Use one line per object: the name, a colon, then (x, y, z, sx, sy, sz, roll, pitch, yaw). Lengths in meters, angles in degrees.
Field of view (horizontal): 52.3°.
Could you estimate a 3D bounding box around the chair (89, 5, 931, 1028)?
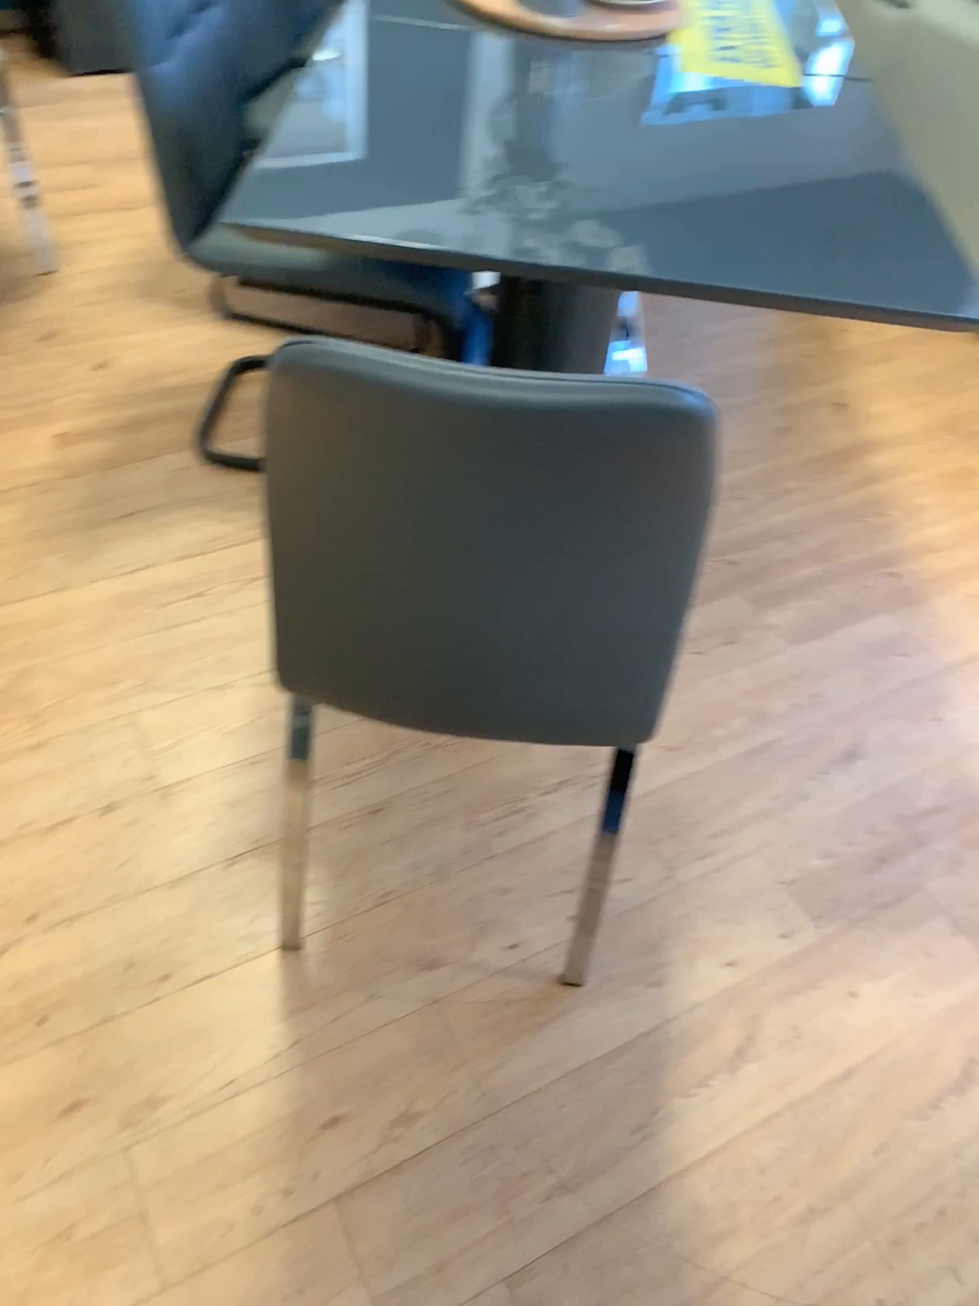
chair: (-0.001, -0.099, 1.147, 0.510, 0.911, 0.636, 8, 47, 0)
